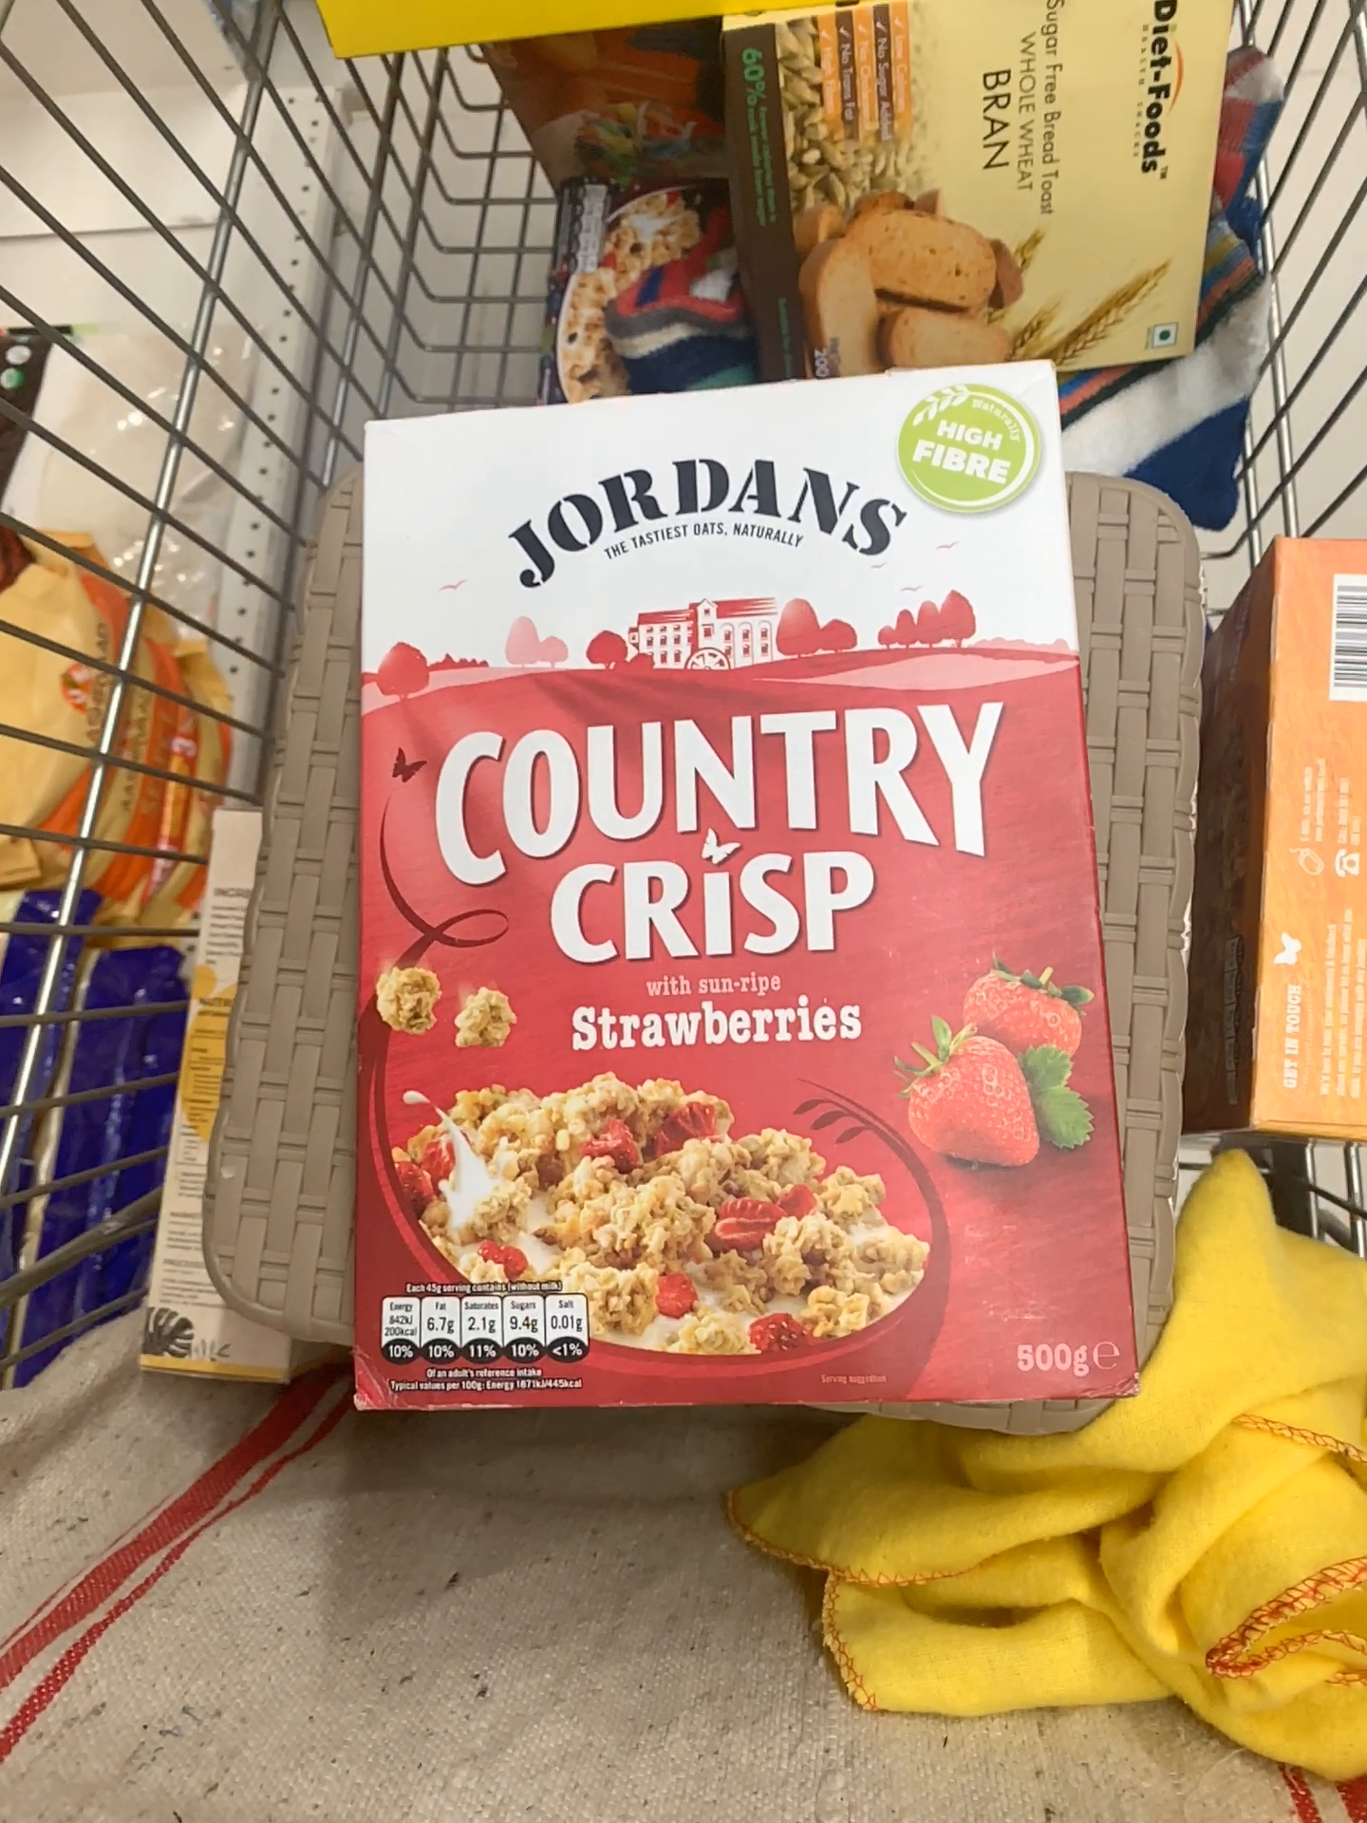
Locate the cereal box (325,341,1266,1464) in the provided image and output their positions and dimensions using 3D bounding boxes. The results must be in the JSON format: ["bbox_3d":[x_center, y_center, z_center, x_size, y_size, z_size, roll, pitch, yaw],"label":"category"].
[{"bbox_3d":[0.019,0.000,0.327,0.180,0.070,0.230,-3,78,7],"label":"cereal box"}]
